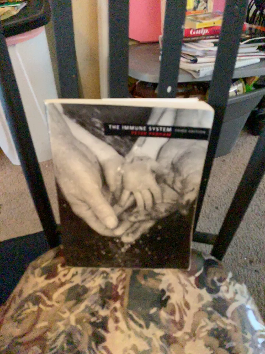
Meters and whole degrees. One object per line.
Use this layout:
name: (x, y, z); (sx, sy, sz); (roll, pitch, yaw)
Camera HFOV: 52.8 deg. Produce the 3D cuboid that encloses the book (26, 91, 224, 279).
book: (-0.008, 0.023, 0.373); (0.220, 0.269, 0.040); (1, 26, 4)
